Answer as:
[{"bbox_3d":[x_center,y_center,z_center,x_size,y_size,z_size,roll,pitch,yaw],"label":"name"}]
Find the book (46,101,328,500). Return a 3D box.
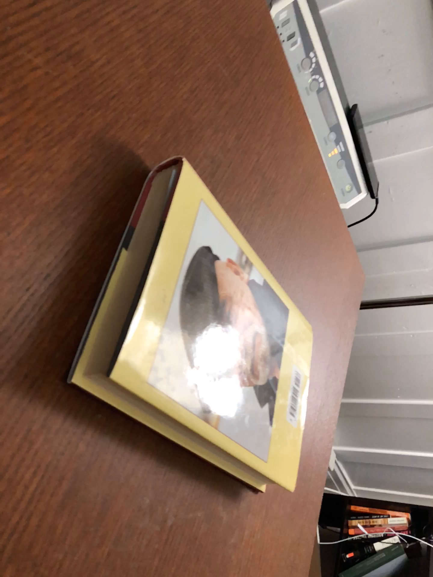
[{"bbox_3d":[0.015,0.025,0.356,0.251,0.030,0.190,47,47,-42],"label":"book"}]
